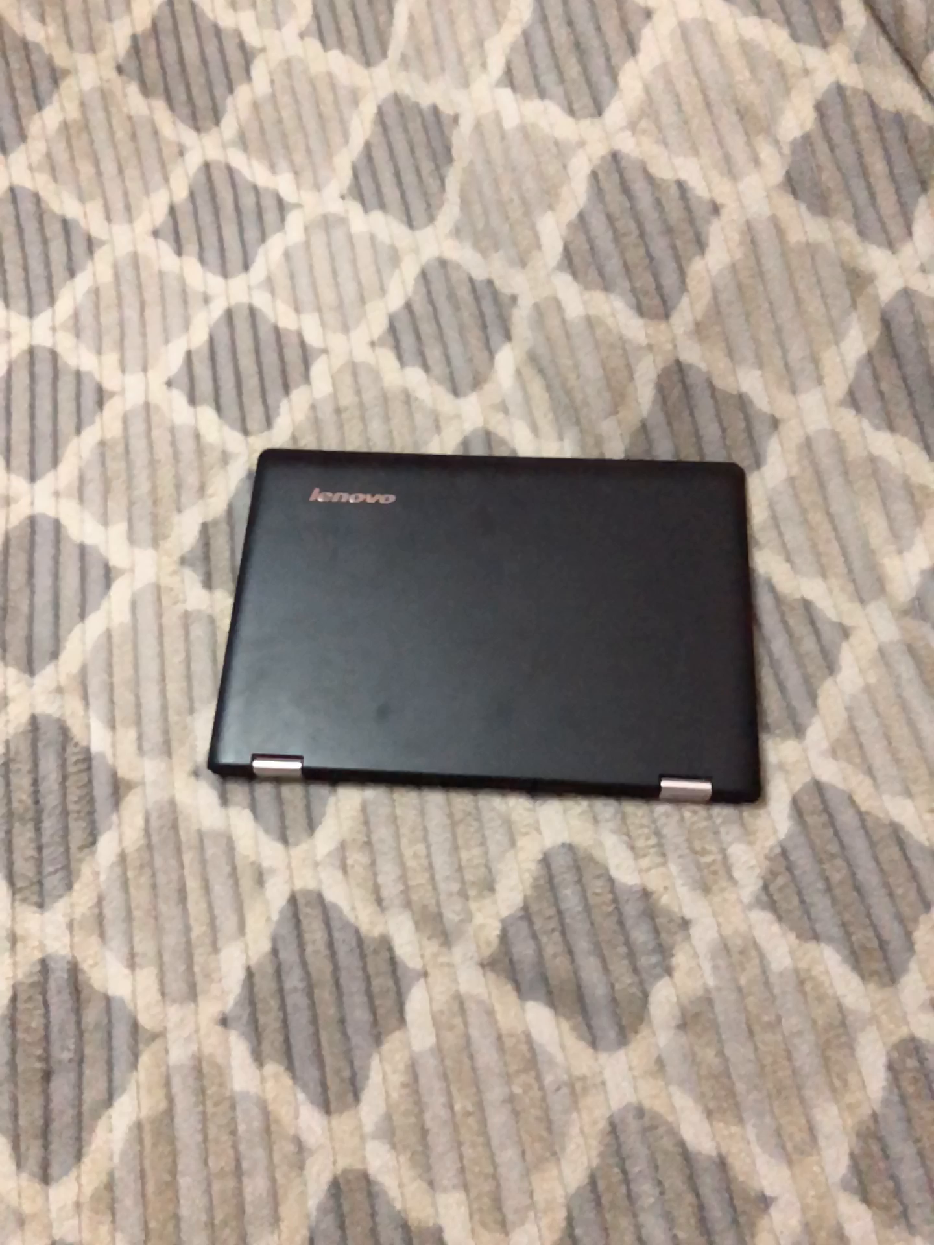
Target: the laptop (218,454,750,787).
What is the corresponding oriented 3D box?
[{"bbox_3d":[0.017,-0.009,0.701,0.339,0.005,0.231,2,68,3],"label":"laptop"}]
